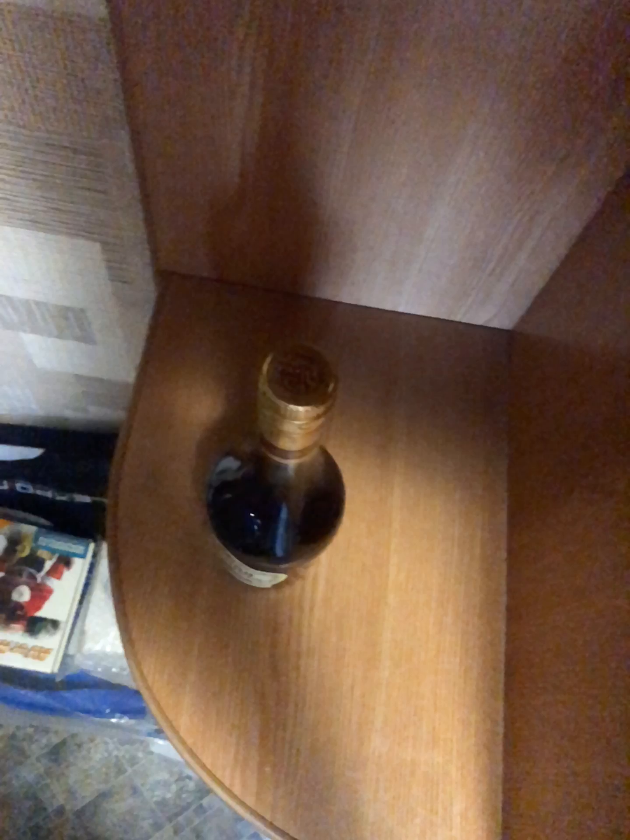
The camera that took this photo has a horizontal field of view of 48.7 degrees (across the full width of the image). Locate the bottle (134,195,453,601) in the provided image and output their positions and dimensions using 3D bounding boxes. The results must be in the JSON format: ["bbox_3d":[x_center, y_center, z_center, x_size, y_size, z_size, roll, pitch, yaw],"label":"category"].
[{"bbox_3d":[-0.022,0.013,0.370,0.080,0.245,0.090,-37,75,-21],"label":"bottle"}]
